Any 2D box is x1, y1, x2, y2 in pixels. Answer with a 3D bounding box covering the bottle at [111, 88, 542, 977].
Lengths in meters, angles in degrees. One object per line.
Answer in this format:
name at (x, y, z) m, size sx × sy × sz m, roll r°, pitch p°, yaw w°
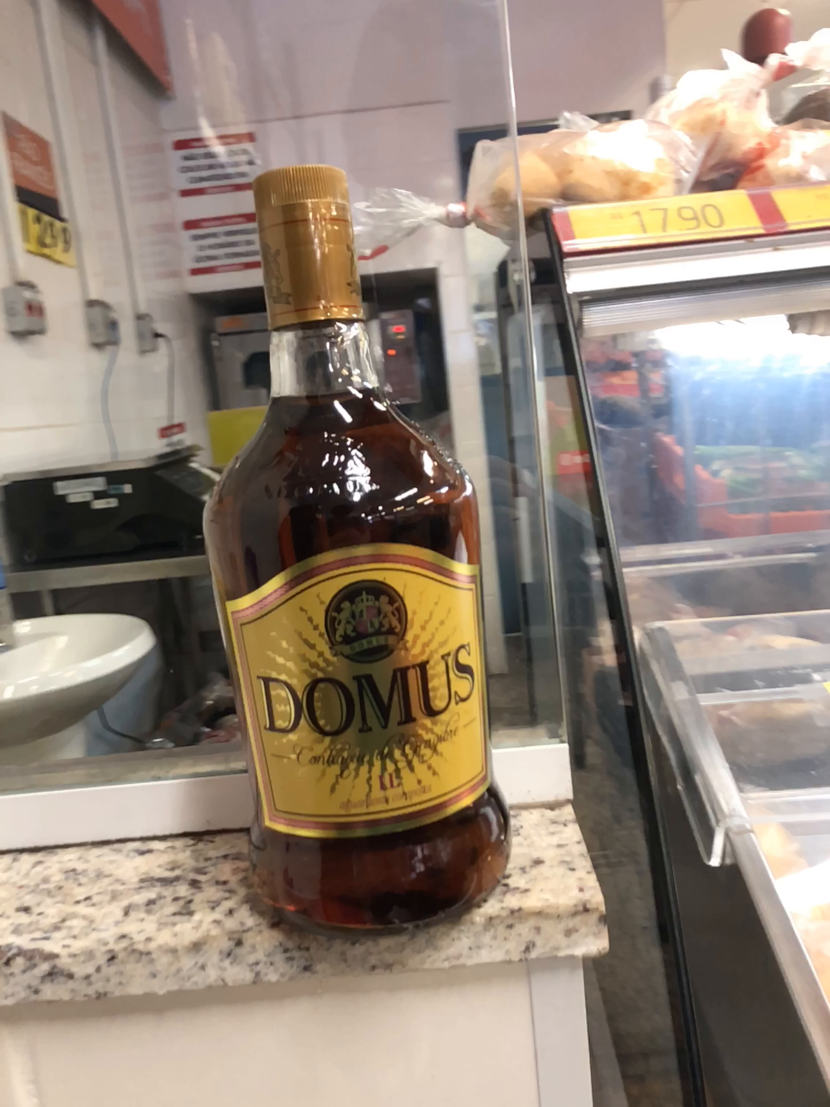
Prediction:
bottle at (-0.033, -0.010, 0.331) m, size 0.100 × 0.259 × 0.110 m, roll -9°, pitch 9°, yaw -13°
